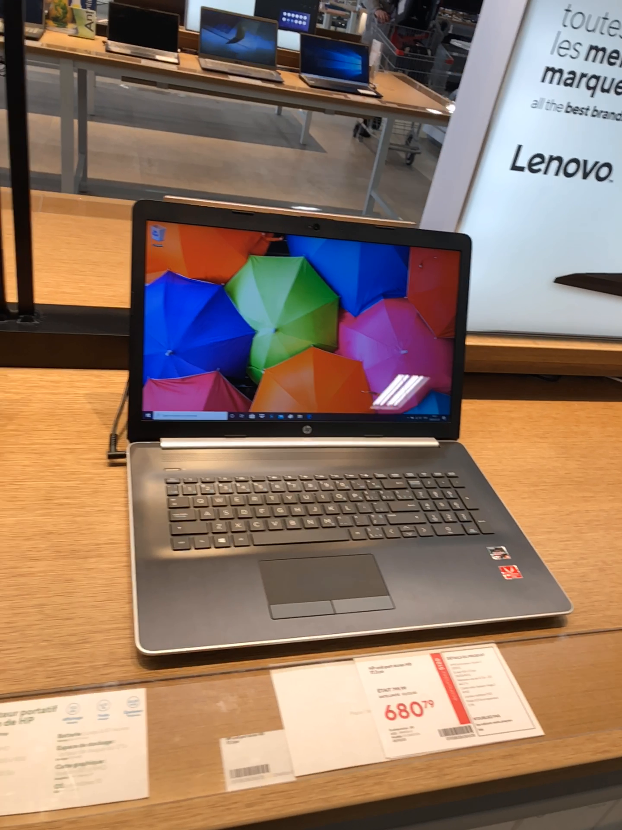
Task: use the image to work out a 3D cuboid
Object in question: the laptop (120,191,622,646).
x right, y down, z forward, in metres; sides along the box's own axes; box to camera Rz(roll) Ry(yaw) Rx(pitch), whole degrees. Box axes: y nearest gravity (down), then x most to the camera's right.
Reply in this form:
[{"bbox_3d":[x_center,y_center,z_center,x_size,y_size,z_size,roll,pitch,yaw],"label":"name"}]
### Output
[{"bbox_3d":[0.018,-0.025,0.703,0.399,0.217,0.399,1,37,-18],"label":"laptop"}]
